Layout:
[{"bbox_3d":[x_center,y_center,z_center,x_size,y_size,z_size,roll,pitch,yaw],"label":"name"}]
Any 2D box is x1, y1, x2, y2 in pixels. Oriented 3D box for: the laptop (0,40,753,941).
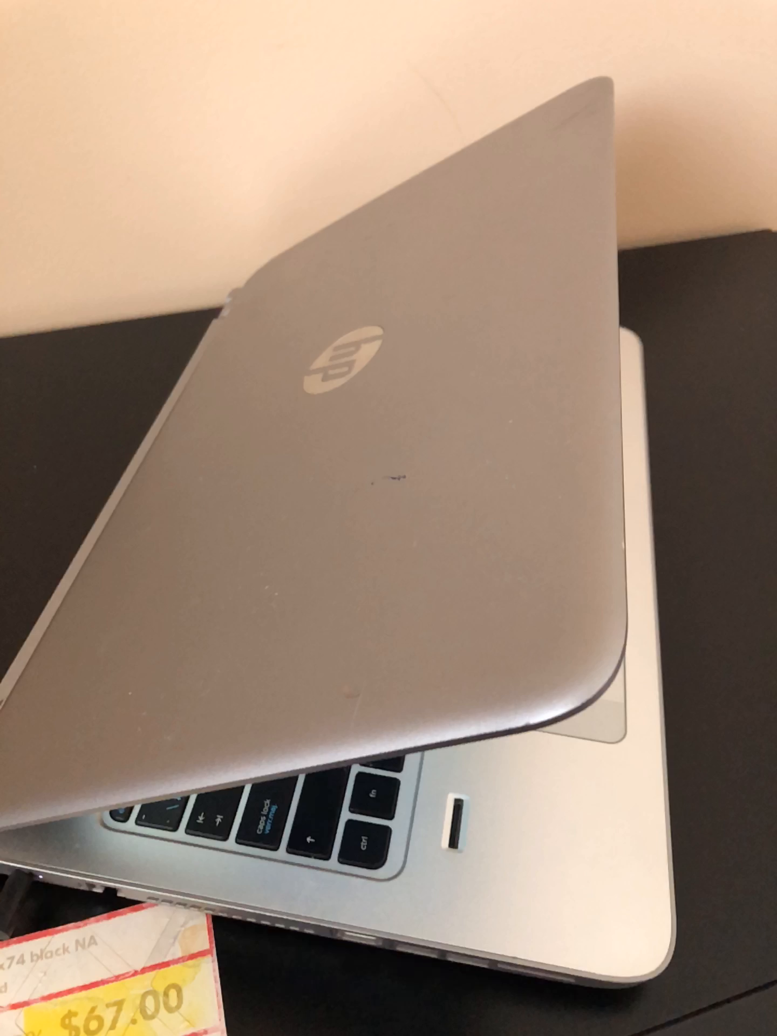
[{"bbox_3d":[-0.014,-0.051,0.358,0.227,0.153,0.357,7,46,5],"label":"laptop"}]
